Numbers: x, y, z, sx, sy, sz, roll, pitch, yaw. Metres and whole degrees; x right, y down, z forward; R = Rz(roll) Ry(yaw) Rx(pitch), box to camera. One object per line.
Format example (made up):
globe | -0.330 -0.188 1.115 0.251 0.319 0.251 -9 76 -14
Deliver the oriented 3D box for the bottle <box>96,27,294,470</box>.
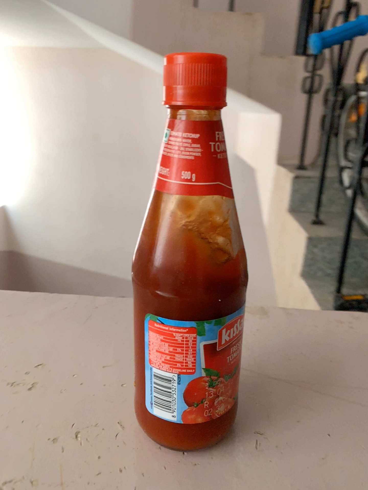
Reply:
bottle | 0.004 0.005 0.225 0.070 0.219 0.070 2 19 -1
